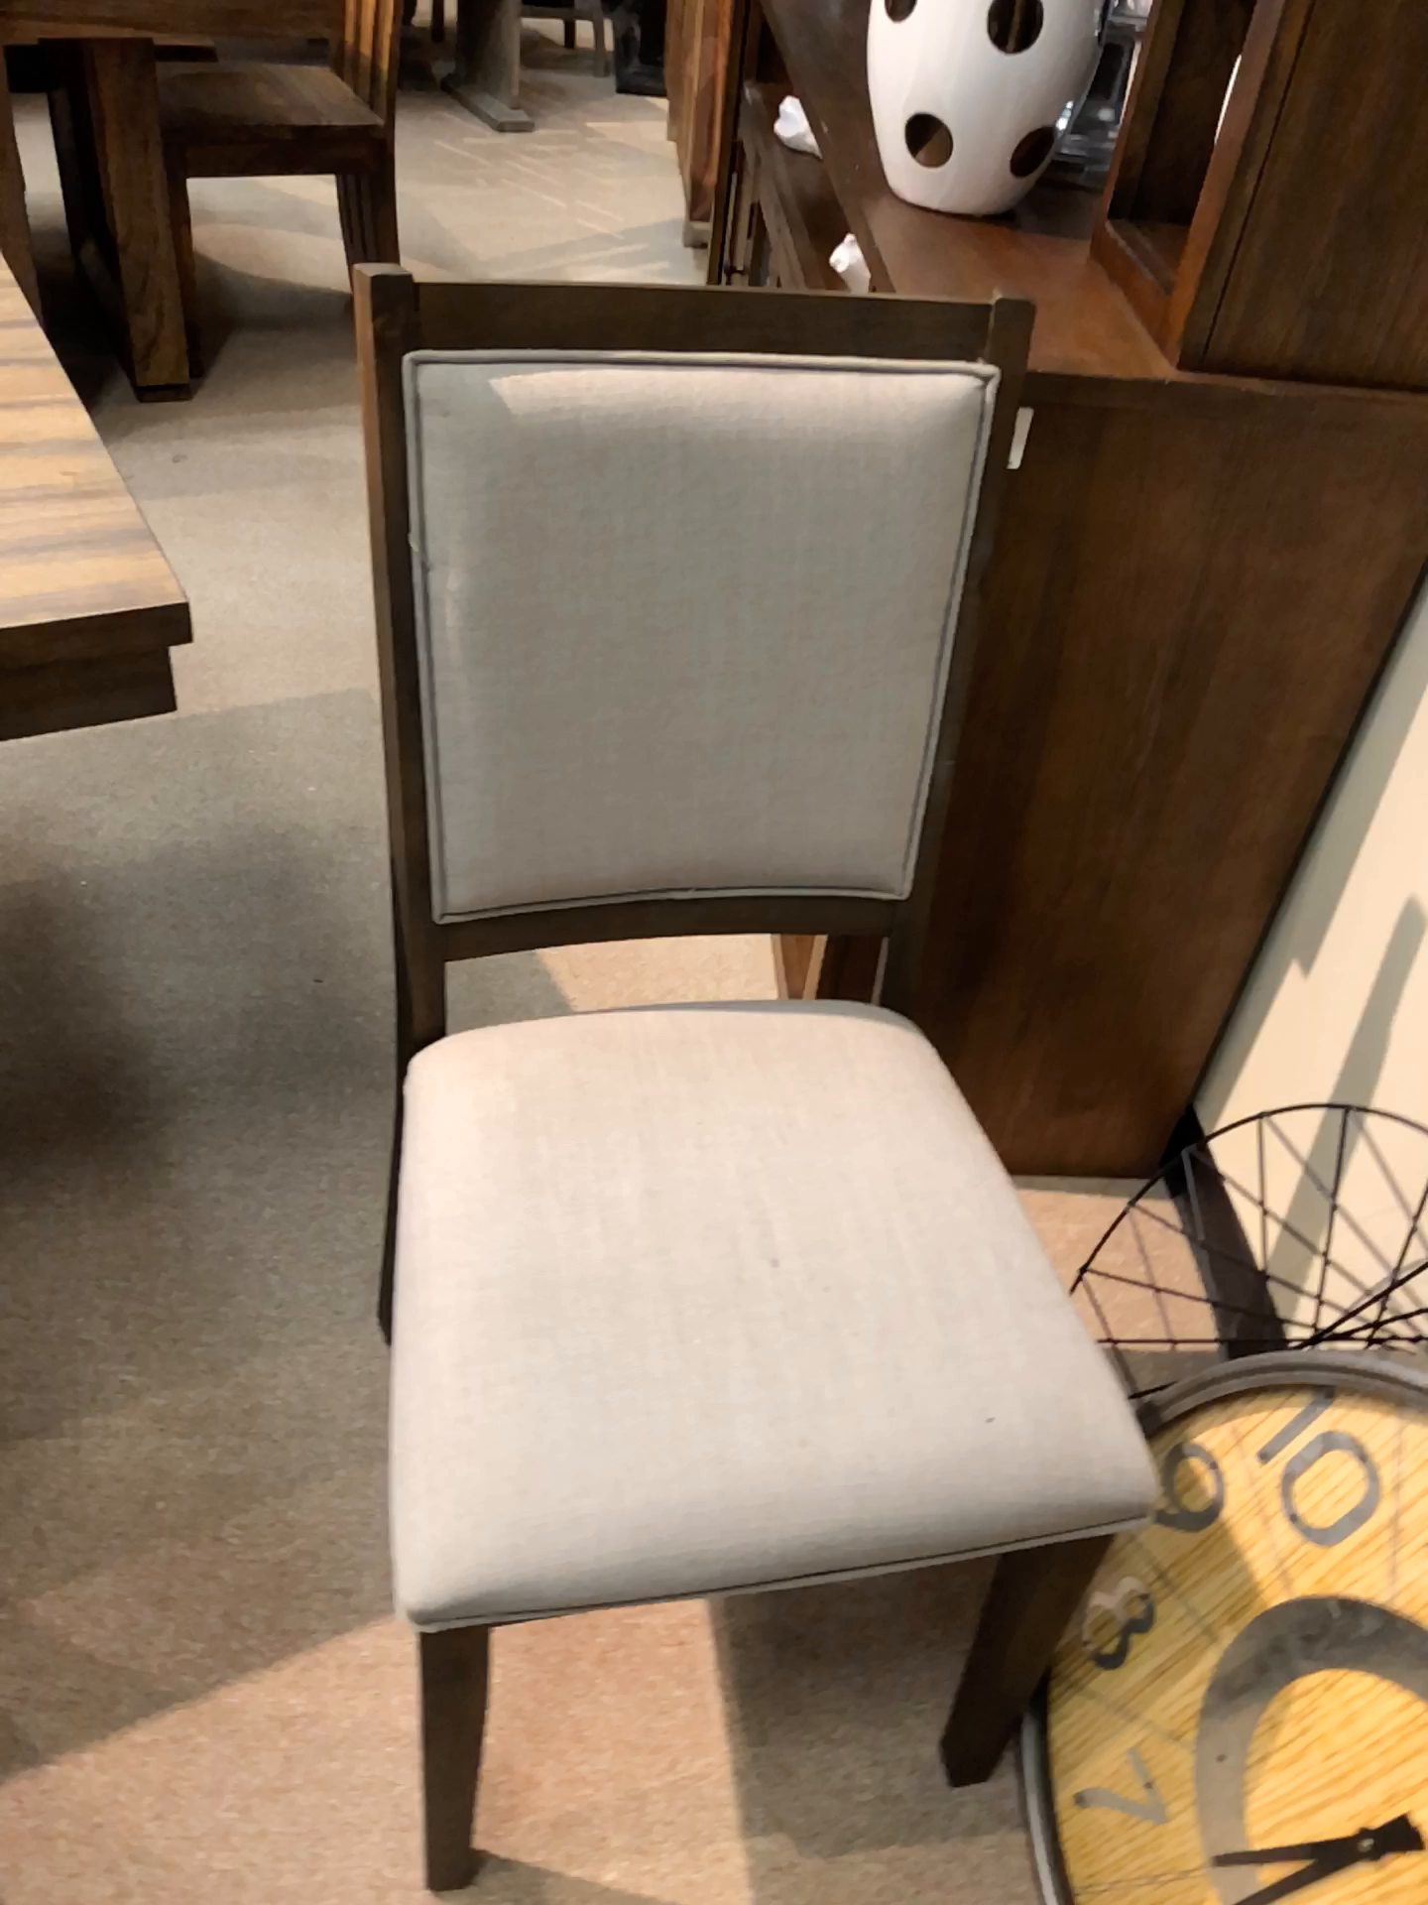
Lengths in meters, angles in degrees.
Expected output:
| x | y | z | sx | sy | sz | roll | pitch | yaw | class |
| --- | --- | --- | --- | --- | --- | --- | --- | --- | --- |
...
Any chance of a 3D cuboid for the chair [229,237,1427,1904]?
| x | y | z | sx | sy | sz | roll | pitch | yaw | class |
| --- | --- | --- | --- | --- | --- | --- | --- | --- | --- |
| -0.018 | 0.123 | 0.986 | 0.460 | 0.924 | 0.493 | -3 | 42 | -13 | chair |
